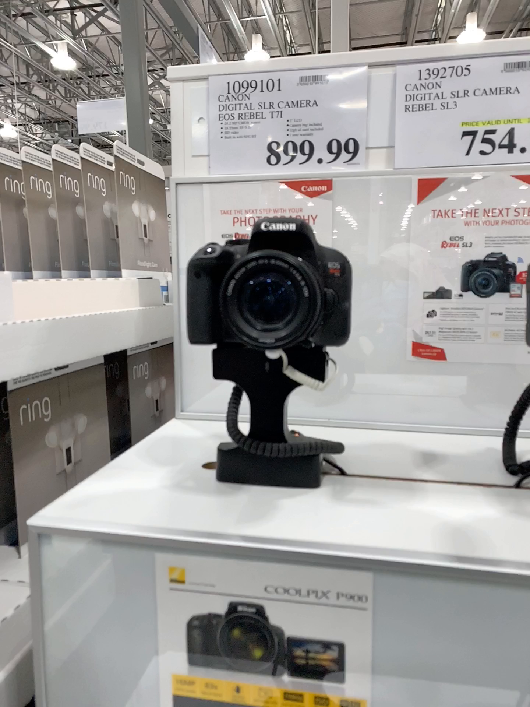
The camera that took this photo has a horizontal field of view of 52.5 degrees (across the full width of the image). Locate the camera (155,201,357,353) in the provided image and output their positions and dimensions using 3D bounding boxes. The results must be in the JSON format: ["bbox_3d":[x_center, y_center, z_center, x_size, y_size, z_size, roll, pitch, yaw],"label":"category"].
[{"bbox_3d":[0.002,-0.057,0.415,0.132,0.096,0.129,0,7,8],"label":"camera"}]
